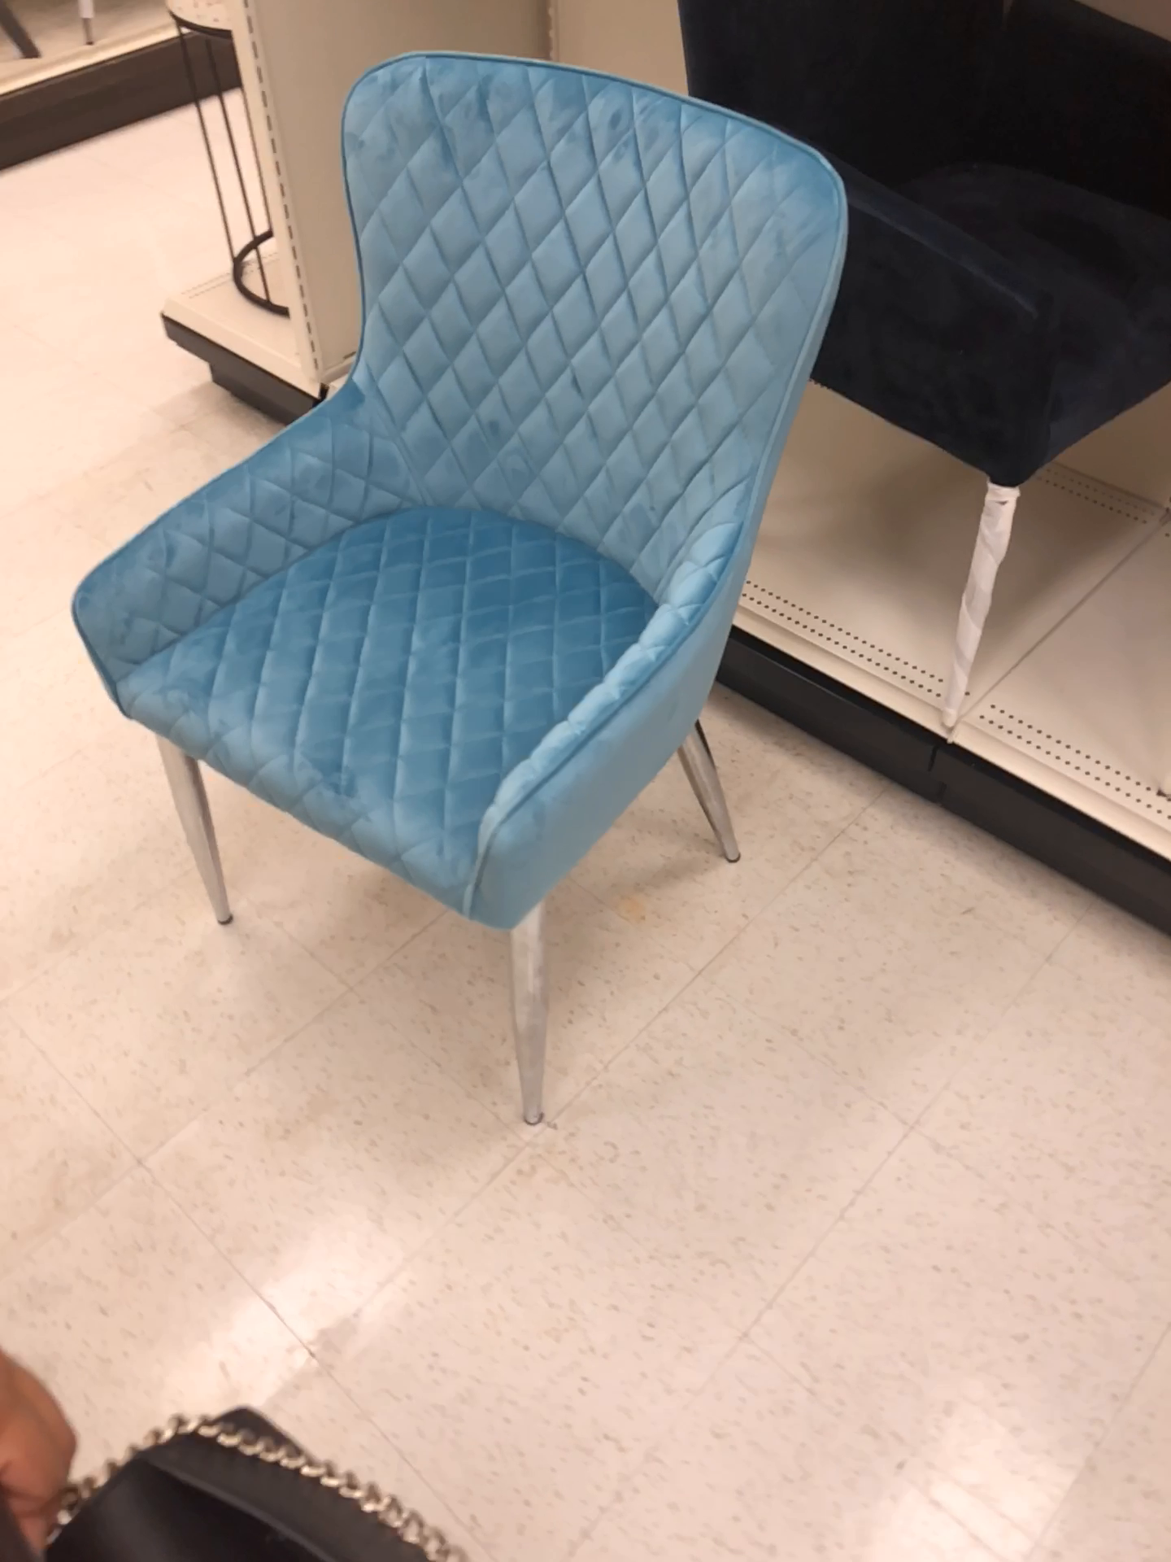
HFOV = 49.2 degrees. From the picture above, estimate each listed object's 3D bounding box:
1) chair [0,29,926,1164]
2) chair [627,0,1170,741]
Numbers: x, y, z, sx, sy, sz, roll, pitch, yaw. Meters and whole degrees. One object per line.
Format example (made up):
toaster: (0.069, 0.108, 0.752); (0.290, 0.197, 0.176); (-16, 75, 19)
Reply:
chair: (-0.104, -0.177, 1.345); (0.561, 0.871, 0.584); (28, 53, 25)
chair: (0.452, -0.608, 1.498); (0.561, 0.778, 0.581); (-33, 54, -26)
